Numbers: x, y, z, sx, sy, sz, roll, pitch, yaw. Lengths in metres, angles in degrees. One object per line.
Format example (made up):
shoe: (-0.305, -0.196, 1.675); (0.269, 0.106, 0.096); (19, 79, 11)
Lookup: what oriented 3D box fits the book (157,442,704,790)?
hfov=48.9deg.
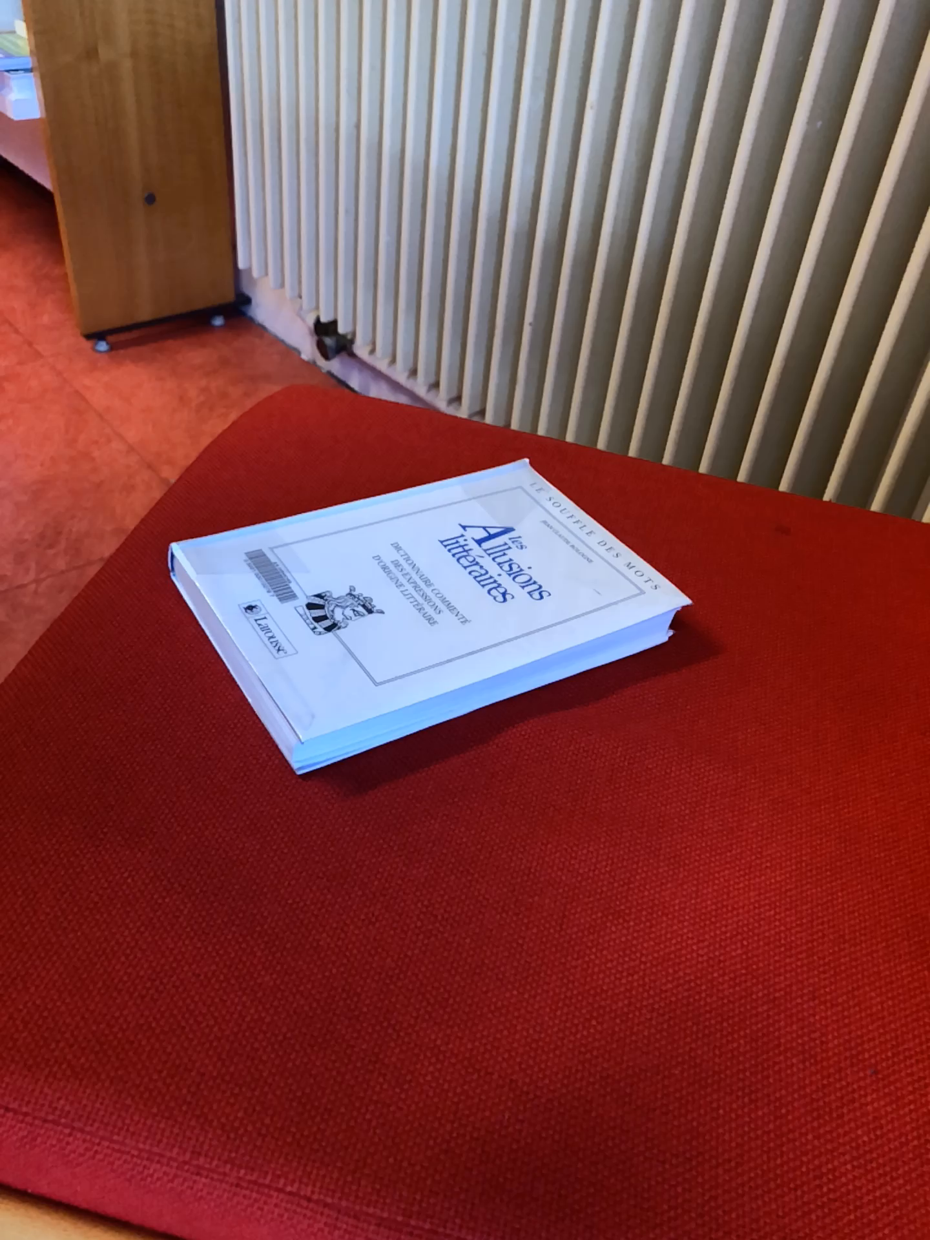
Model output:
book: (-0.017, -0.017, 0.501); (0.218, 0.030, 0.150); (-19, 45, -28)
